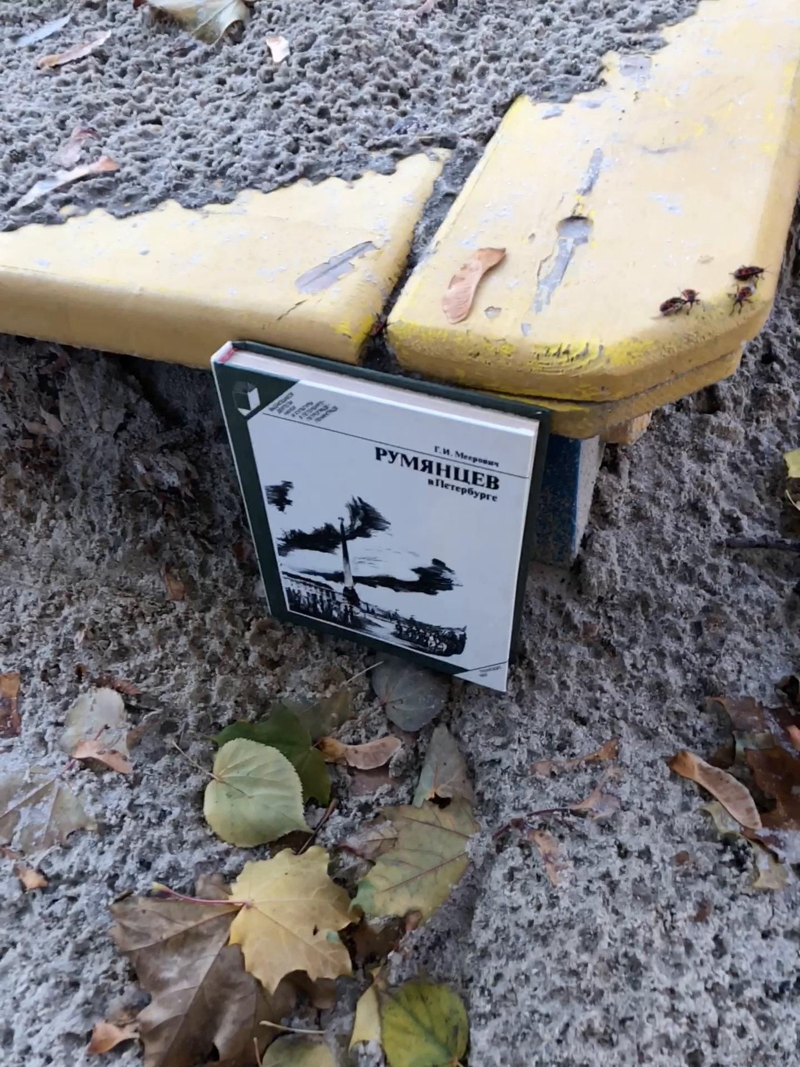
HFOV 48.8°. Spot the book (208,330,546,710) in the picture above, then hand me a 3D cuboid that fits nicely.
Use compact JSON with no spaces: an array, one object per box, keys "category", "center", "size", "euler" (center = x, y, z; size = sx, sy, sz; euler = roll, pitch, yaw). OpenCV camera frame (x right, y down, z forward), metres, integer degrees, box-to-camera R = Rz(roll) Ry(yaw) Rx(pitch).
[{"category":"book","center":[-0.010,-0.002,0.394],"size":[0.140,0.155,0.020],"euler":[17,44,22]}]
